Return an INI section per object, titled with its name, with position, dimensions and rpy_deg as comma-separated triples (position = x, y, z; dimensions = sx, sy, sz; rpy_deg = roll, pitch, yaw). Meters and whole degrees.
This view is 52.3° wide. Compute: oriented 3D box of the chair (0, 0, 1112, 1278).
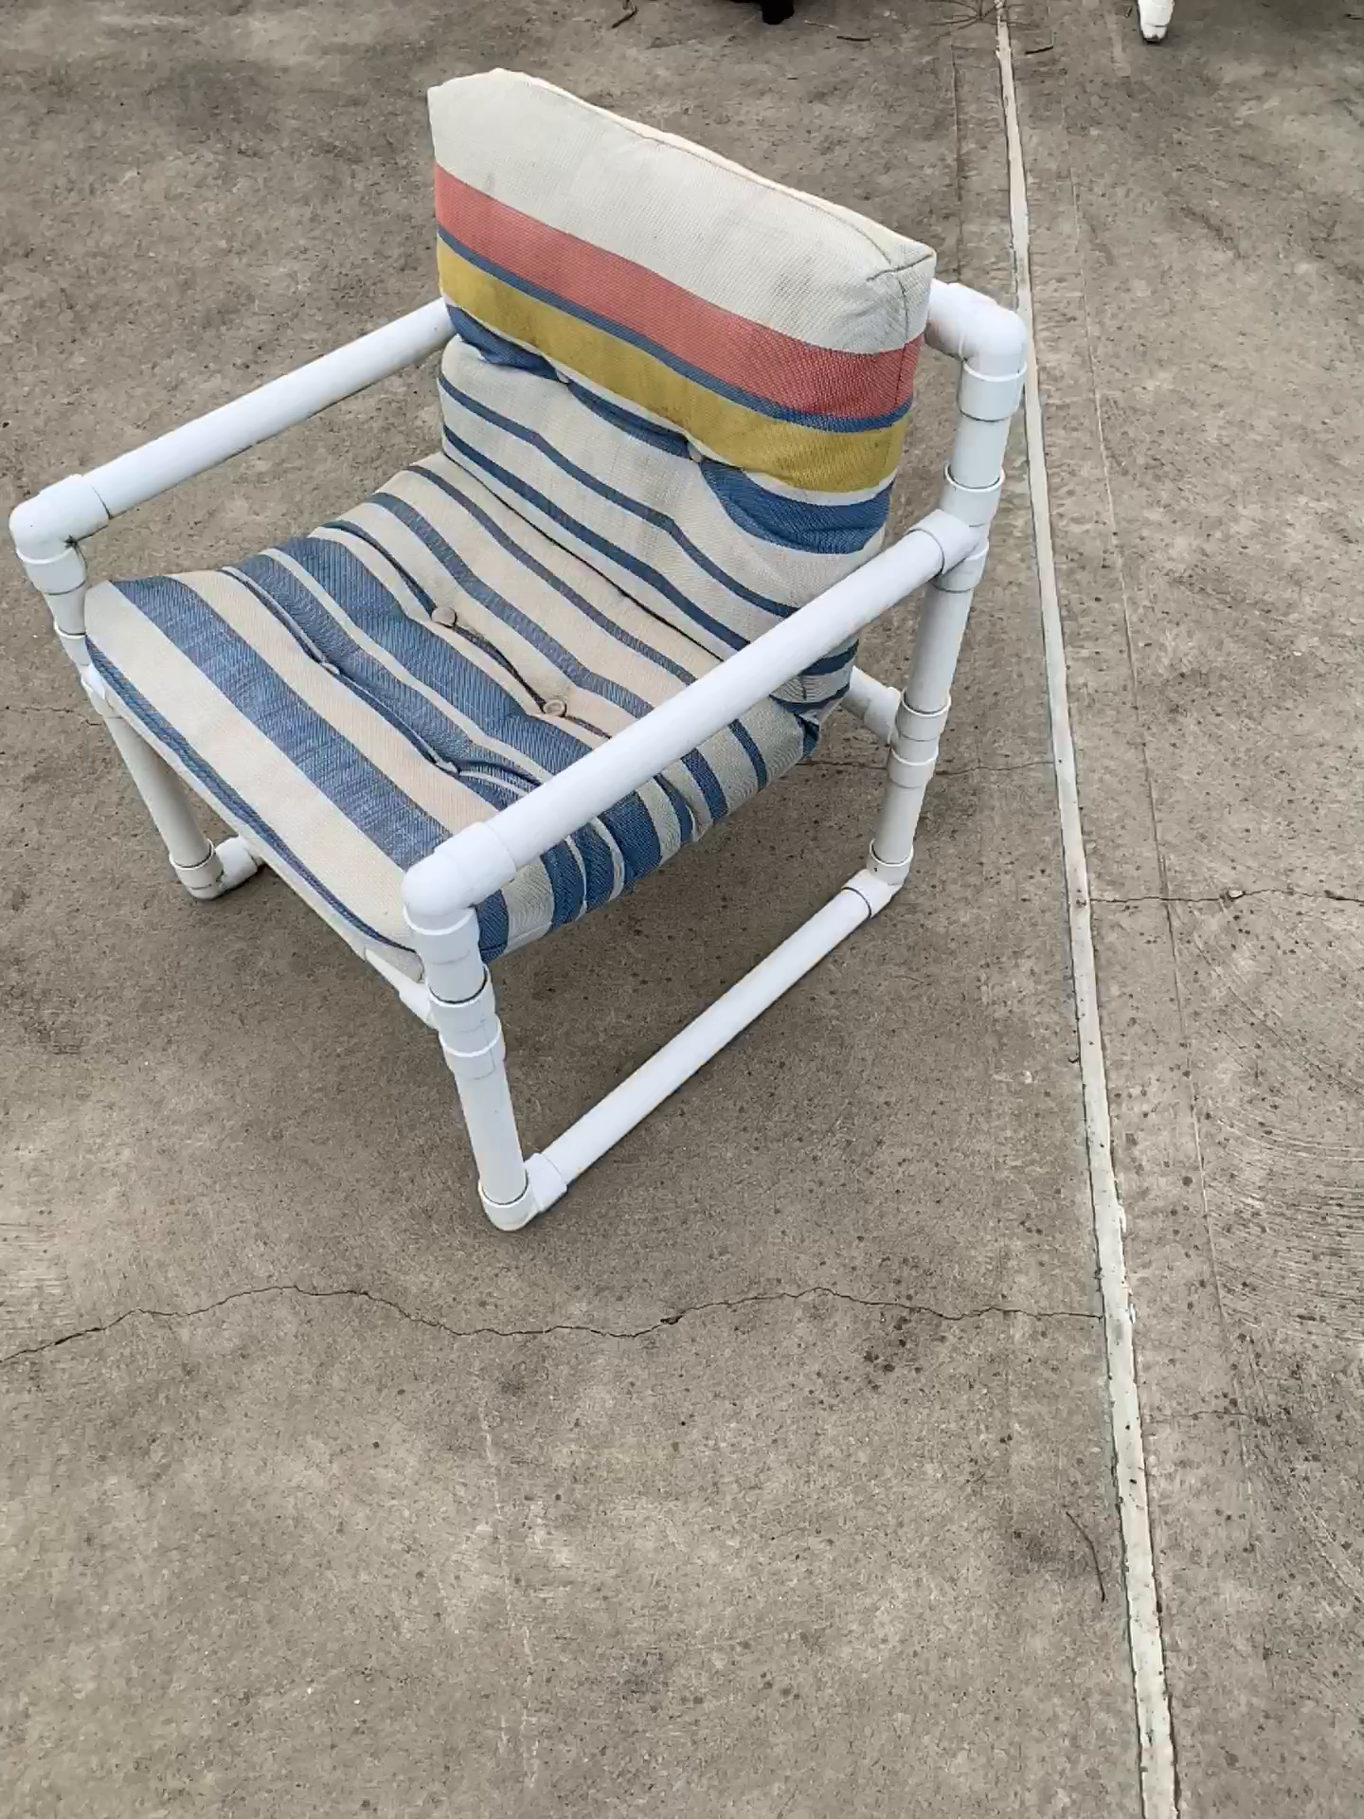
[chair]
position = -0.159, -0.242, 1.264
dimensions = 0.671, 0.687, 0.652
rpy_deg = -38, 62, -23
